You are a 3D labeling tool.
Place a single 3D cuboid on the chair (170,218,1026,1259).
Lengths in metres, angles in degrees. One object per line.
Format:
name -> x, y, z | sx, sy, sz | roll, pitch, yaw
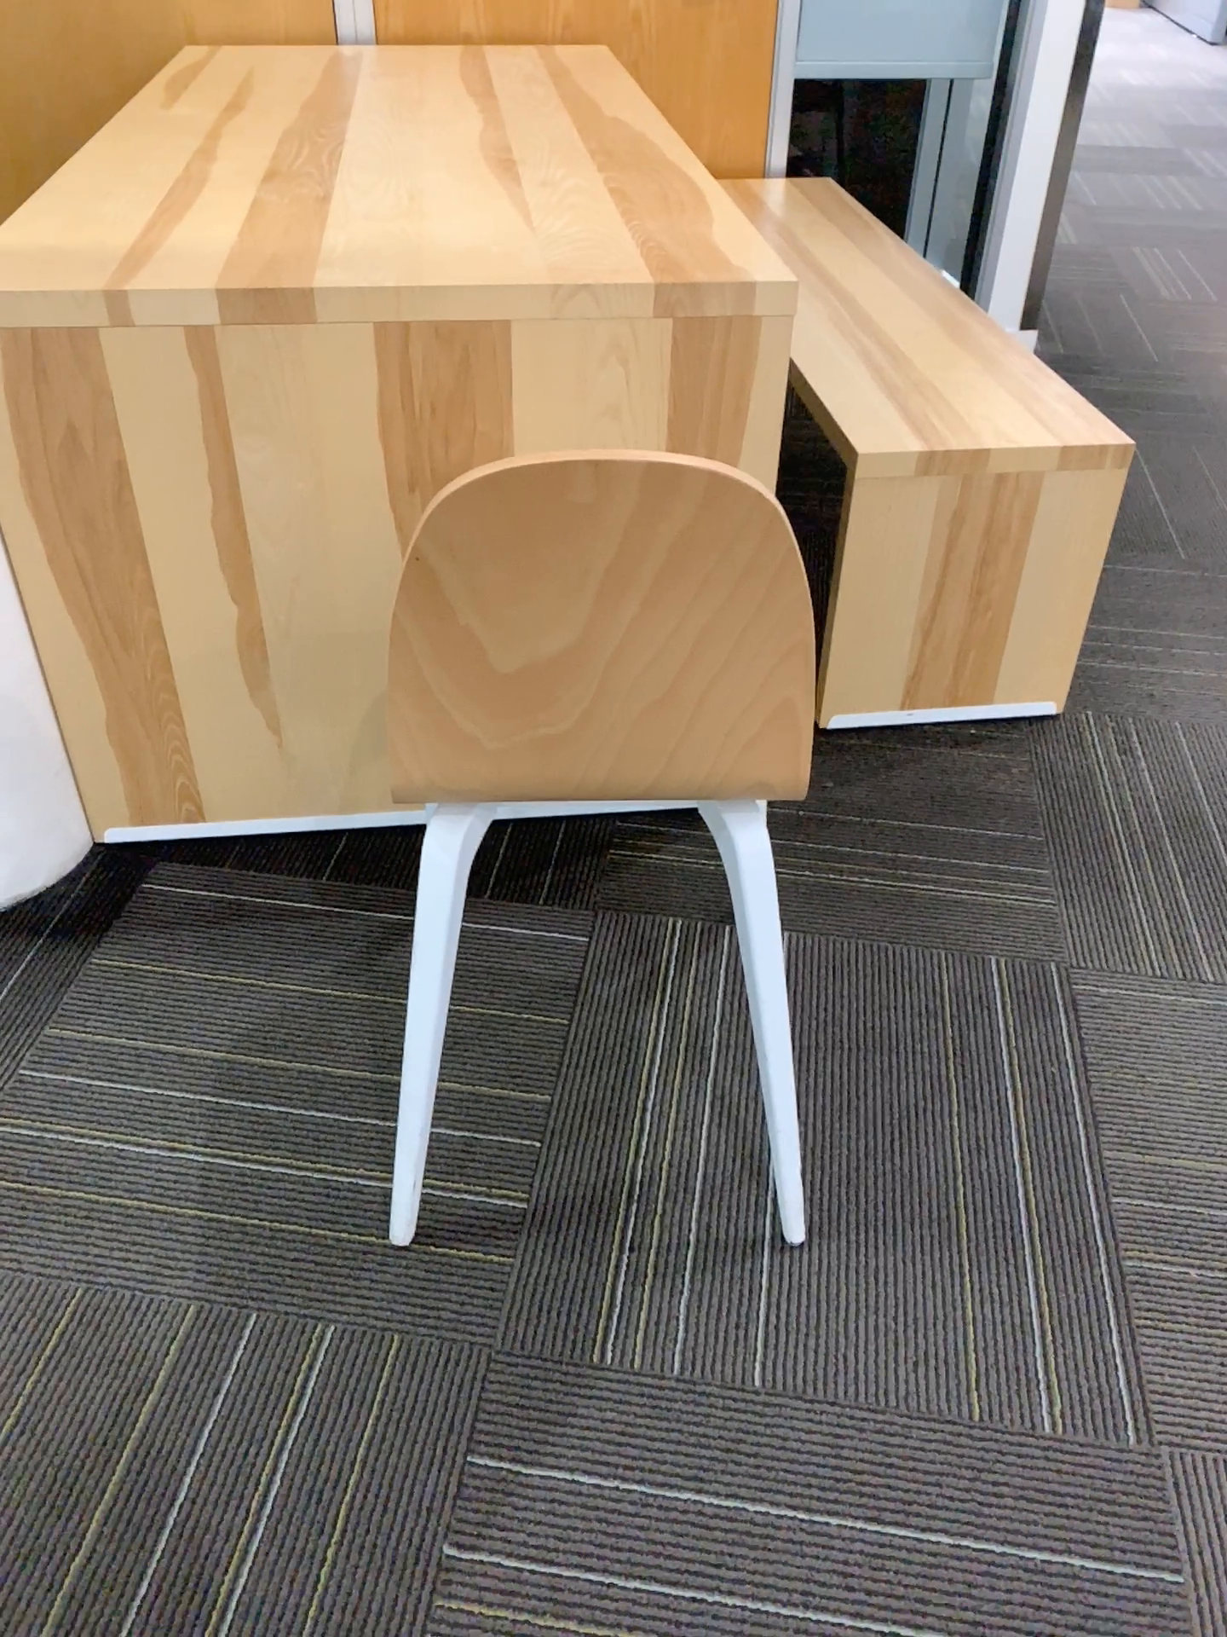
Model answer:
chair -> -0.024, -0.064, 1.201 | 0.500, 0.815, 0.553 | -1, 38, -2
